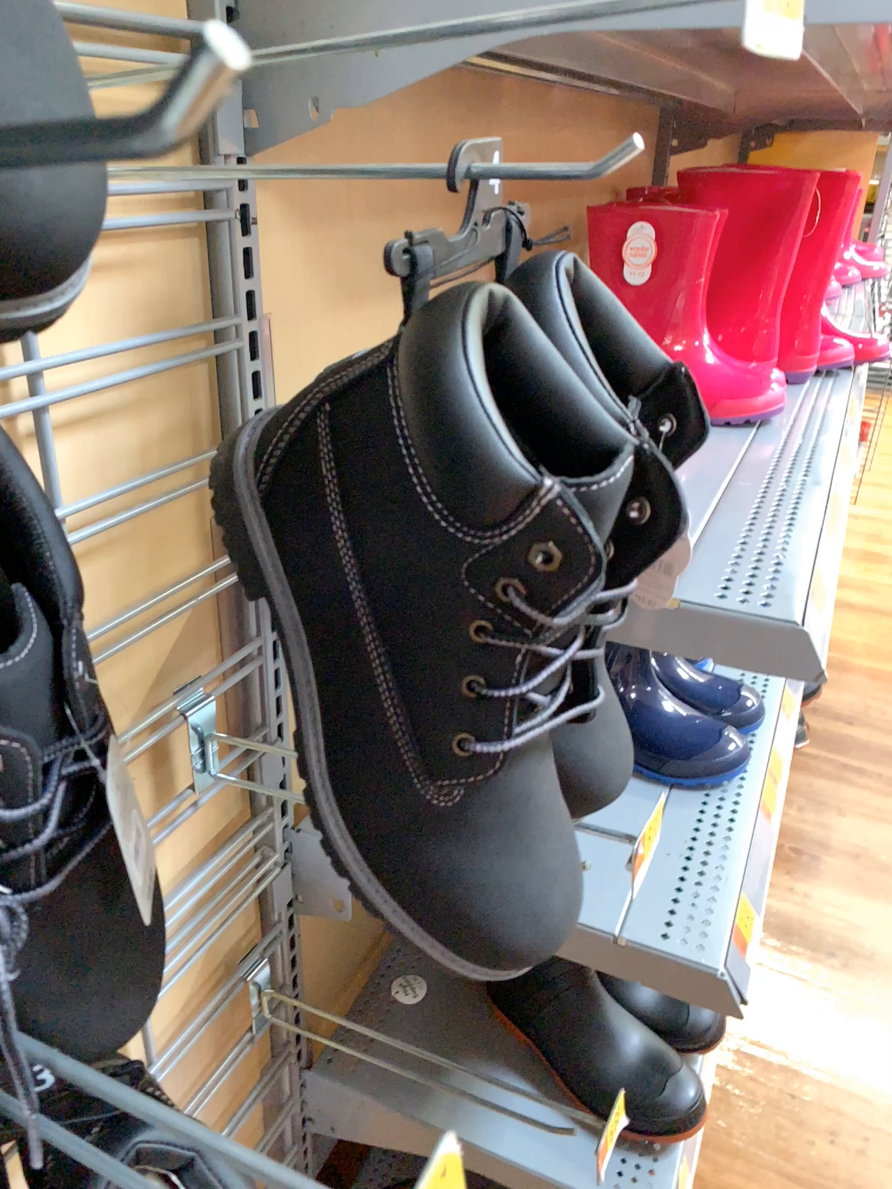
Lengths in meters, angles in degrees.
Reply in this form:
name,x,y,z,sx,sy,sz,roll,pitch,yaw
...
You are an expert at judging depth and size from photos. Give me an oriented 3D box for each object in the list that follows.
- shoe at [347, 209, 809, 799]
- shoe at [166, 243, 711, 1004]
name,x,y,z,sx,sy,sz,roll,pitch,yaw
shoe,0.064,-0.034,0.381,0.120,0.205,0.100,-5,19,33
shoe,0.009,0.009,0.329,0.110,0.229,0.100,-5,18,32
